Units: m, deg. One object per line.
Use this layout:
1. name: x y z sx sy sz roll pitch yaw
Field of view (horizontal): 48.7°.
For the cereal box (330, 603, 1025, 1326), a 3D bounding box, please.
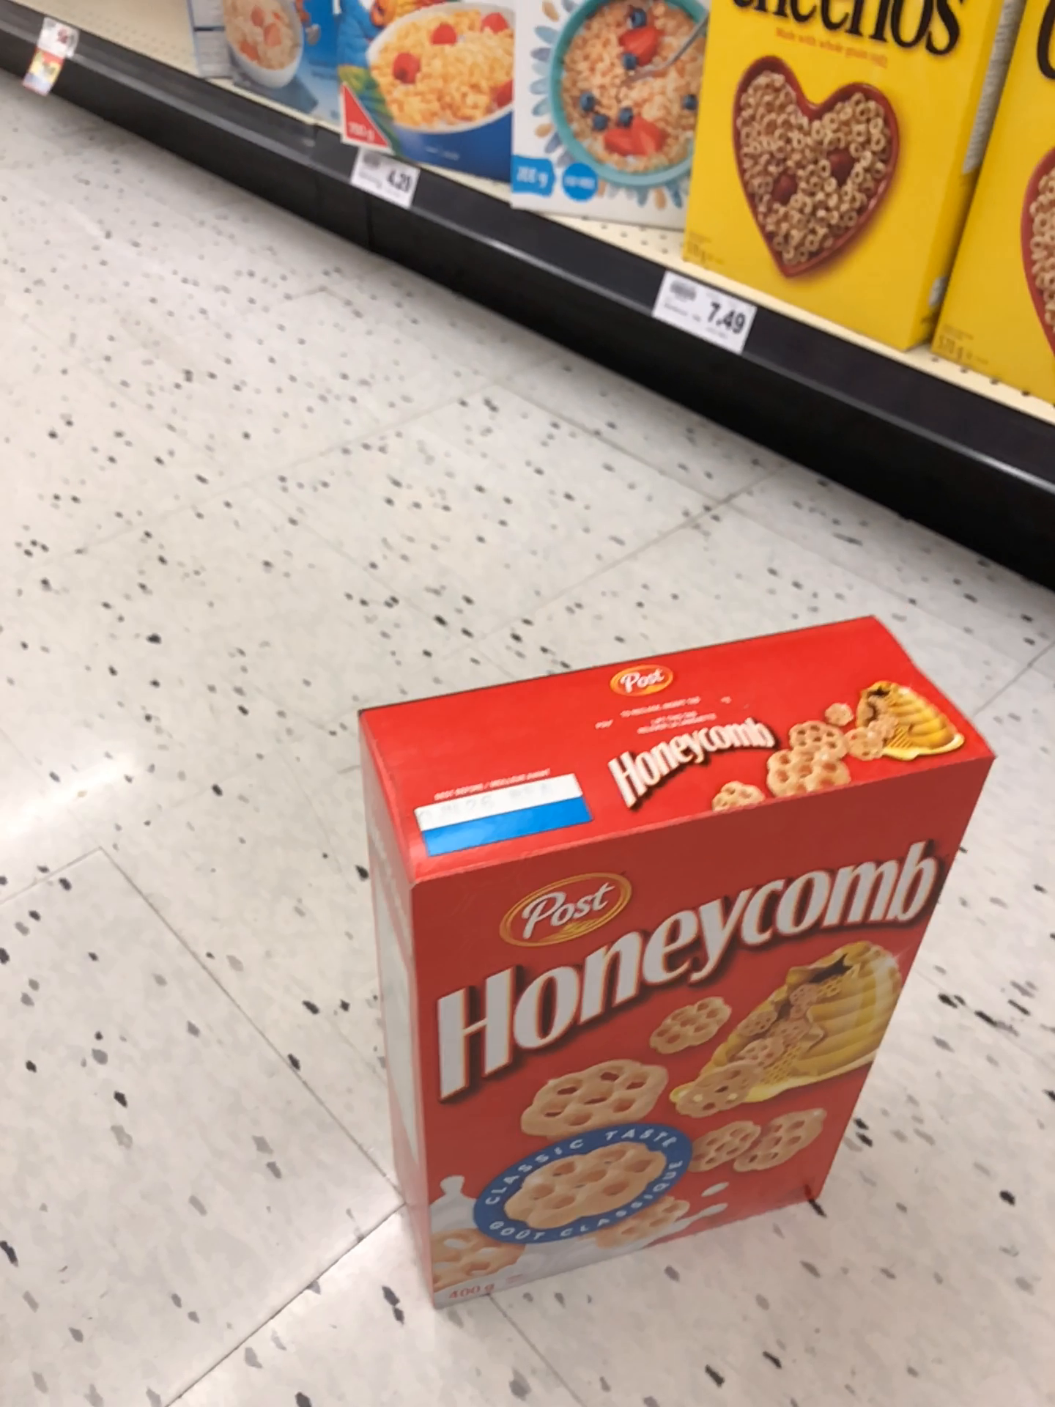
1. cereal box: 0.040 0.118 0.461 0.200 0.298 0.080 -10 43 -13
